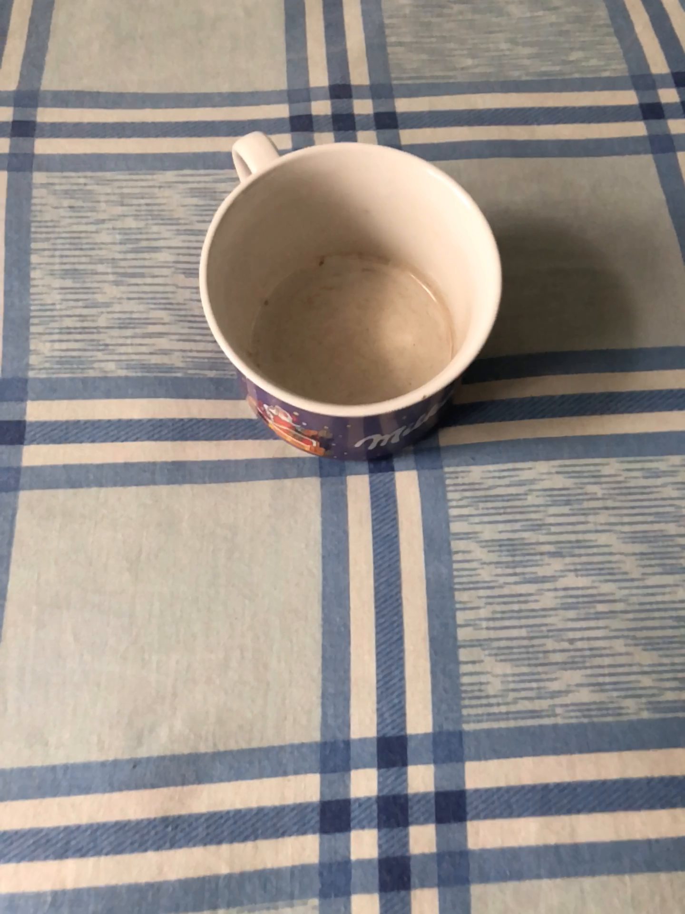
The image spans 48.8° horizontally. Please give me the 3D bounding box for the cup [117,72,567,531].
[{"bbox_3d":[-0.003,-0.060,0.291,0.104,0.063,0.130,-29,73,-12],"label":"cup"}]
